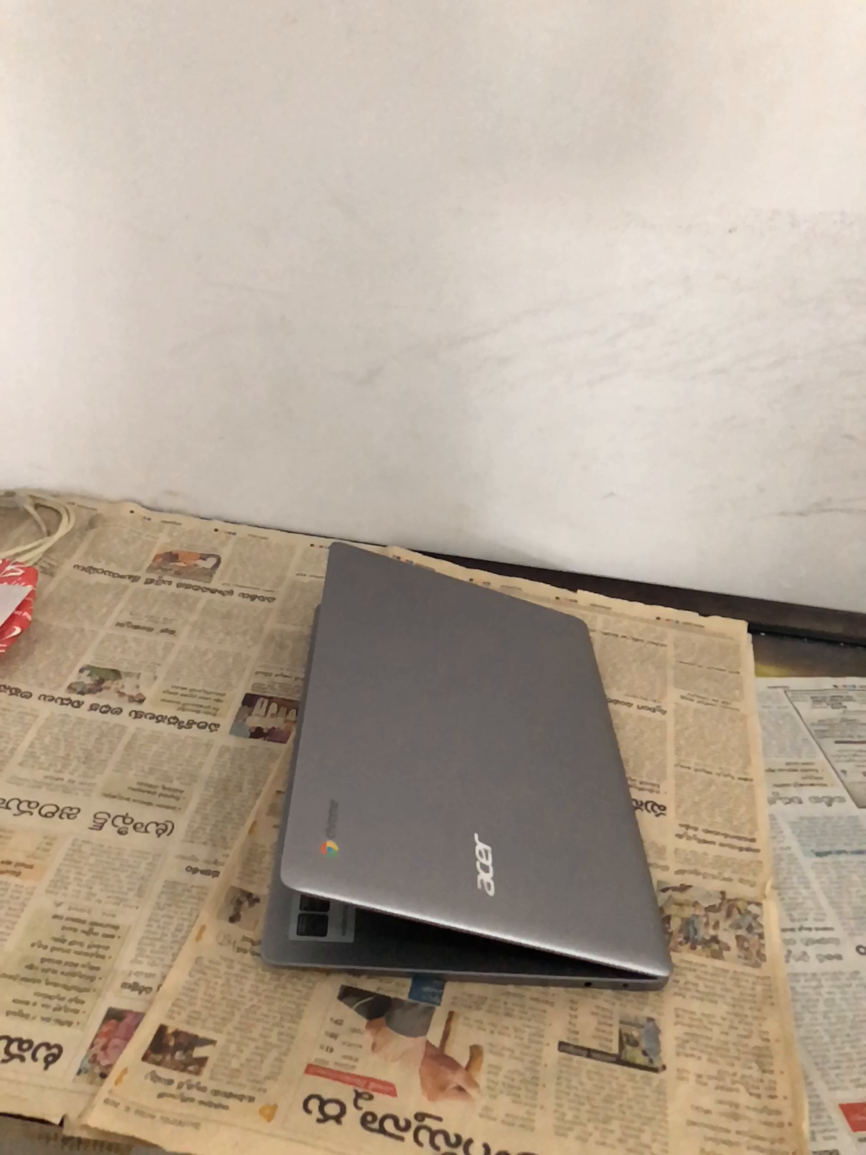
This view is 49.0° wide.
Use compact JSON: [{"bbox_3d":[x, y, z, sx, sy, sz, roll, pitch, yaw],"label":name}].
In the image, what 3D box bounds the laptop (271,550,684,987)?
[{"bbox_3d":[0.019,0.100,0.638,0.210,0.058,0.332,5,32,-3],"label":"laptop"}]
